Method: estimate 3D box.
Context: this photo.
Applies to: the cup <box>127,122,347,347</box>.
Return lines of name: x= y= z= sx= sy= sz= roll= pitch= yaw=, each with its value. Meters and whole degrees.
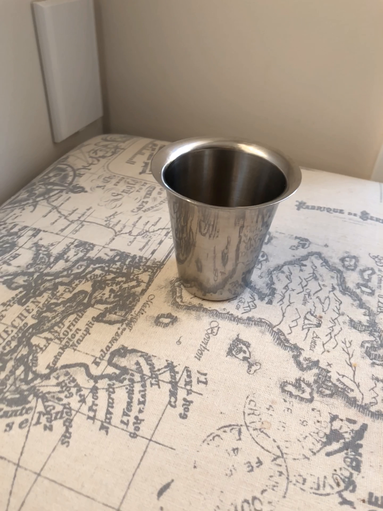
cup: x=0.020 y=-0.018 z=0.249 sx=0.081 sy=0.081 sz=0.084 roll=2 pitch=37 yaw=-2
